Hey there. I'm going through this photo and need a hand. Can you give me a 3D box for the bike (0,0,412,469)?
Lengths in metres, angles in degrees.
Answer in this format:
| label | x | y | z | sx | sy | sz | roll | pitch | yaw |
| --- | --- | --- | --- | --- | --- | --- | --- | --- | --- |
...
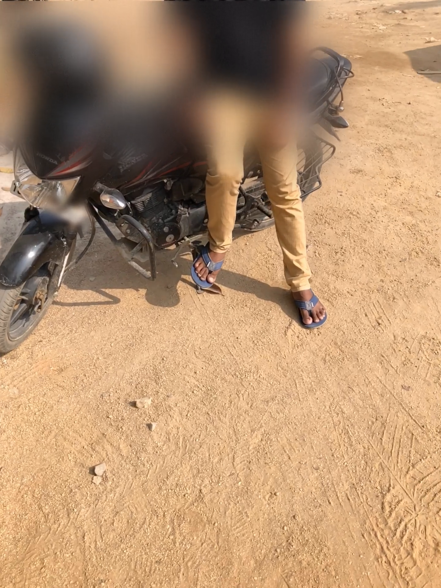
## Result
| label | x | y | z | sx | sy | sz | roll | pitch | yaw |
| --- | --- | --- | --- | --- | --- | --- | --- | --- | --- |
| bike | -0.147 | -0.496 | 1.899 | 1.699 | 1.214 | 0.880 | -32 | 43 | -31 |
